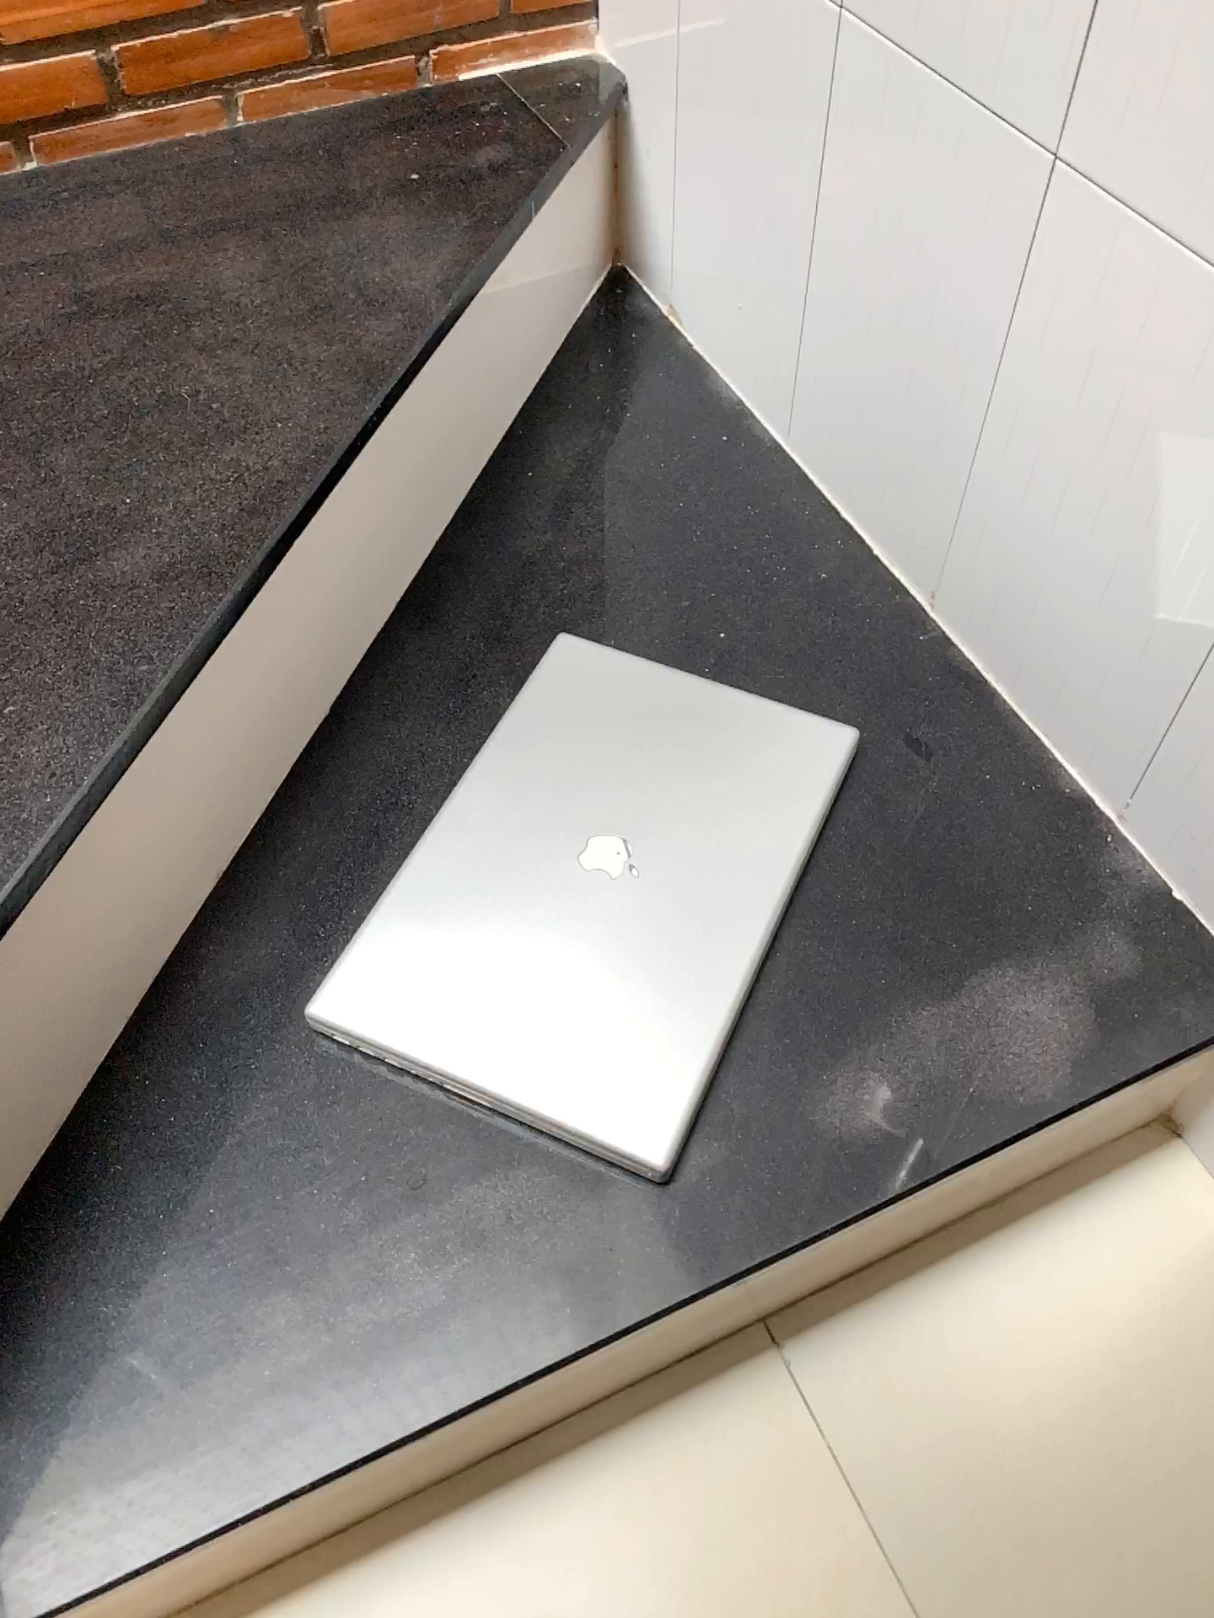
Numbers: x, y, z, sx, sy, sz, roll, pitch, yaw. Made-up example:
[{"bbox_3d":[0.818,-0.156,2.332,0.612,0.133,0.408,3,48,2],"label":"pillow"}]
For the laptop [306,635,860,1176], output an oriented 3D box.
[{"bbox_3d":[0.000,0.048,1.029,0.291,0.013,0.441,21,56,12],"label":"laptop"}]
